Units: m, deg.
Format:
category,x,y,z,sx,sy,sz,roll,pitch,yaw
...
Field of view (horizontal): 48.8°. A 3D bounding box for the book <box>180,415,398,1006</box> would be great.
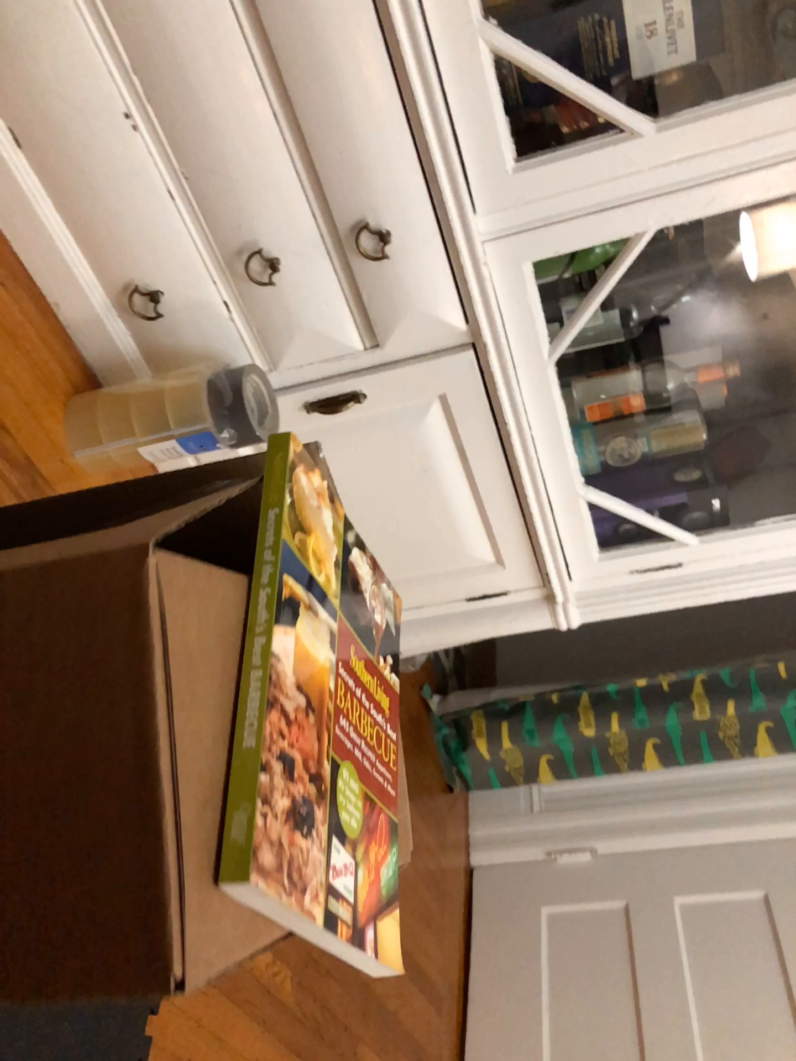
category,x,y,z,sx,sy,sz,roll,pitch,yaw
book,-0.046,0.110,0.539,0.220,0.020,0.291,62,23,-49
